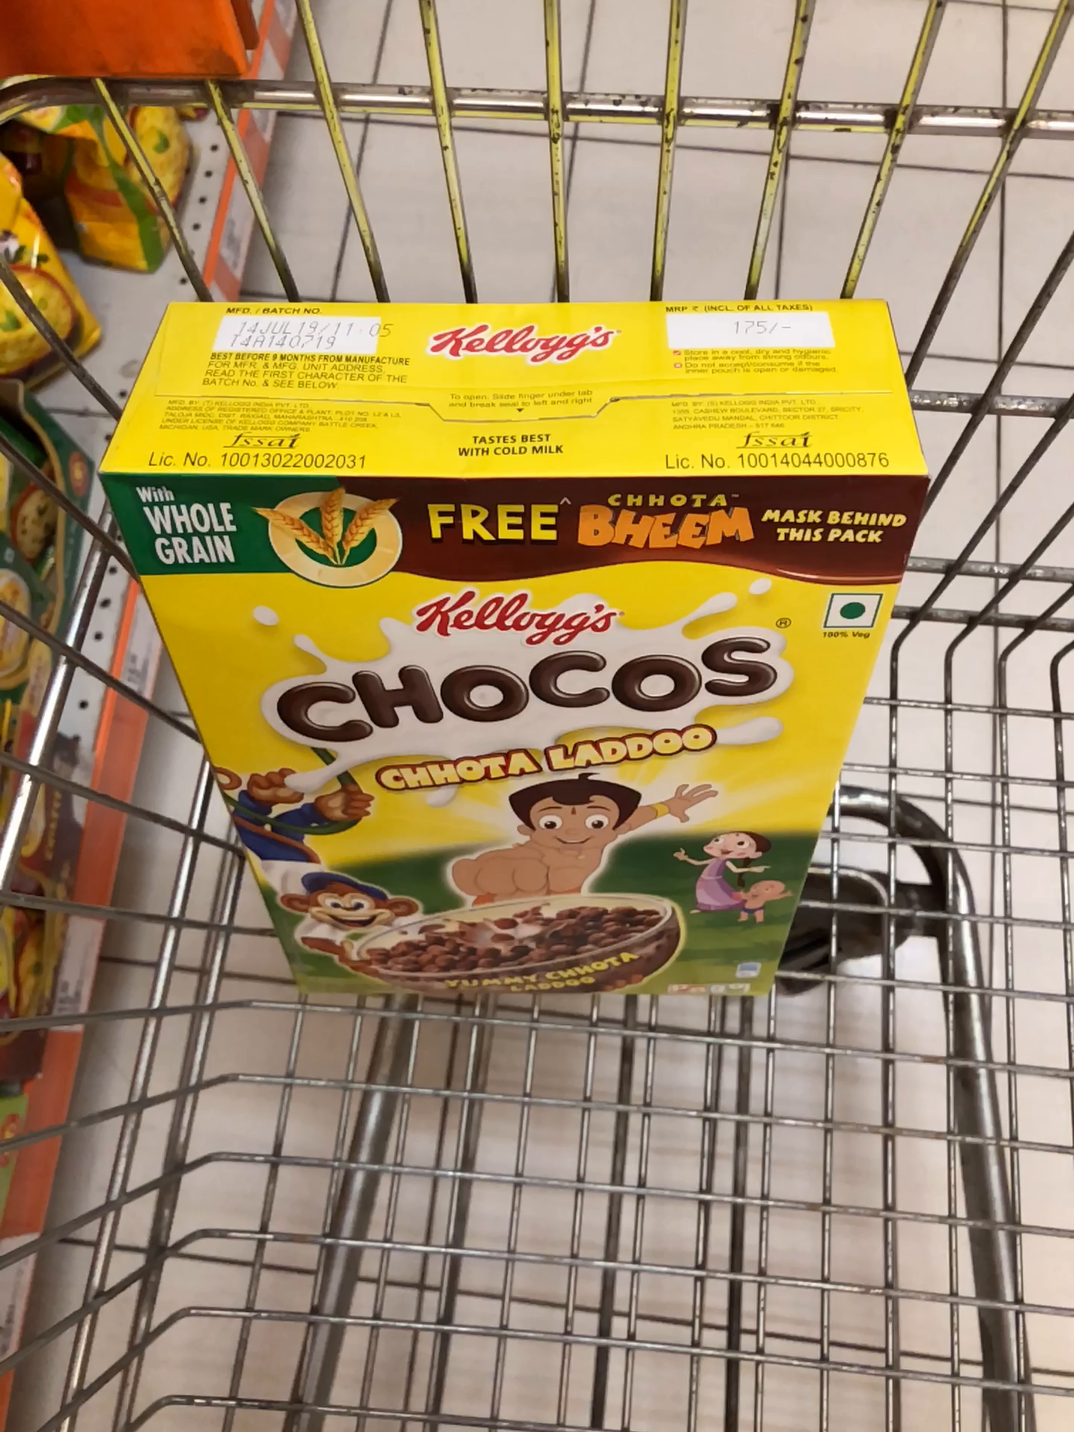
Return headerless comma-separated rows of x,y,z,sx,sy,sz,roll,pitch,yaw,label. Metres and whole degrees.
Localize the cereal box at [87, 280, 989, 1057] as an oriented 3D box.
0.004,0.008,0.358,0.180,0.249,0.080,0,48,2,cereal box
